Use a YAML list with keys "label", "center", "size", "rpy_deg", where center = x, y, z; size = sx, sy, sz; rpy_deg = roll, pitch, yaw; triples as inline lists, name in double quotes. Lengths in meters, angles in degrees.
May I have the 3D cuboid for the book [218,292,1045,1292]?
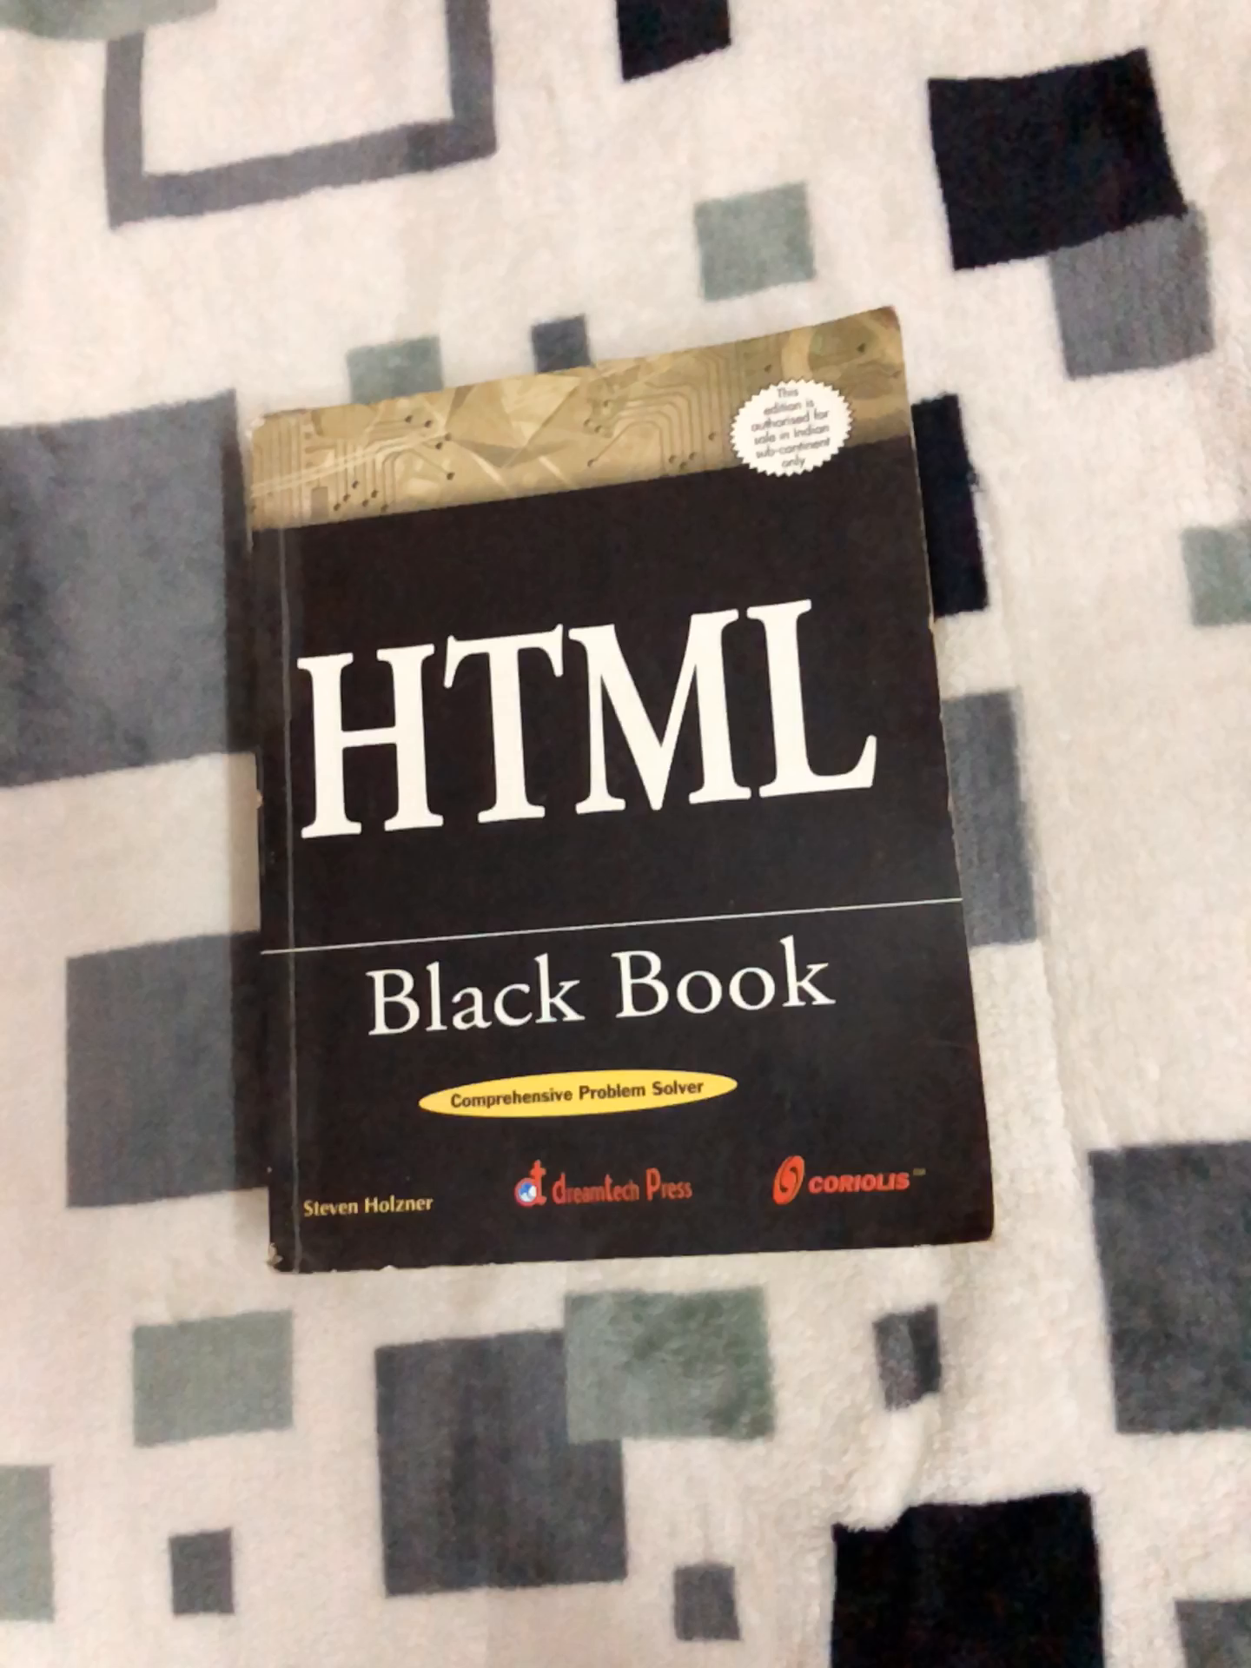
- label: "book"
  center: [-0.003, -0.006, 0.374]
  size: [0.190, 0.070, 0.230]
  rpy_deg: [-6, 79, 10]
